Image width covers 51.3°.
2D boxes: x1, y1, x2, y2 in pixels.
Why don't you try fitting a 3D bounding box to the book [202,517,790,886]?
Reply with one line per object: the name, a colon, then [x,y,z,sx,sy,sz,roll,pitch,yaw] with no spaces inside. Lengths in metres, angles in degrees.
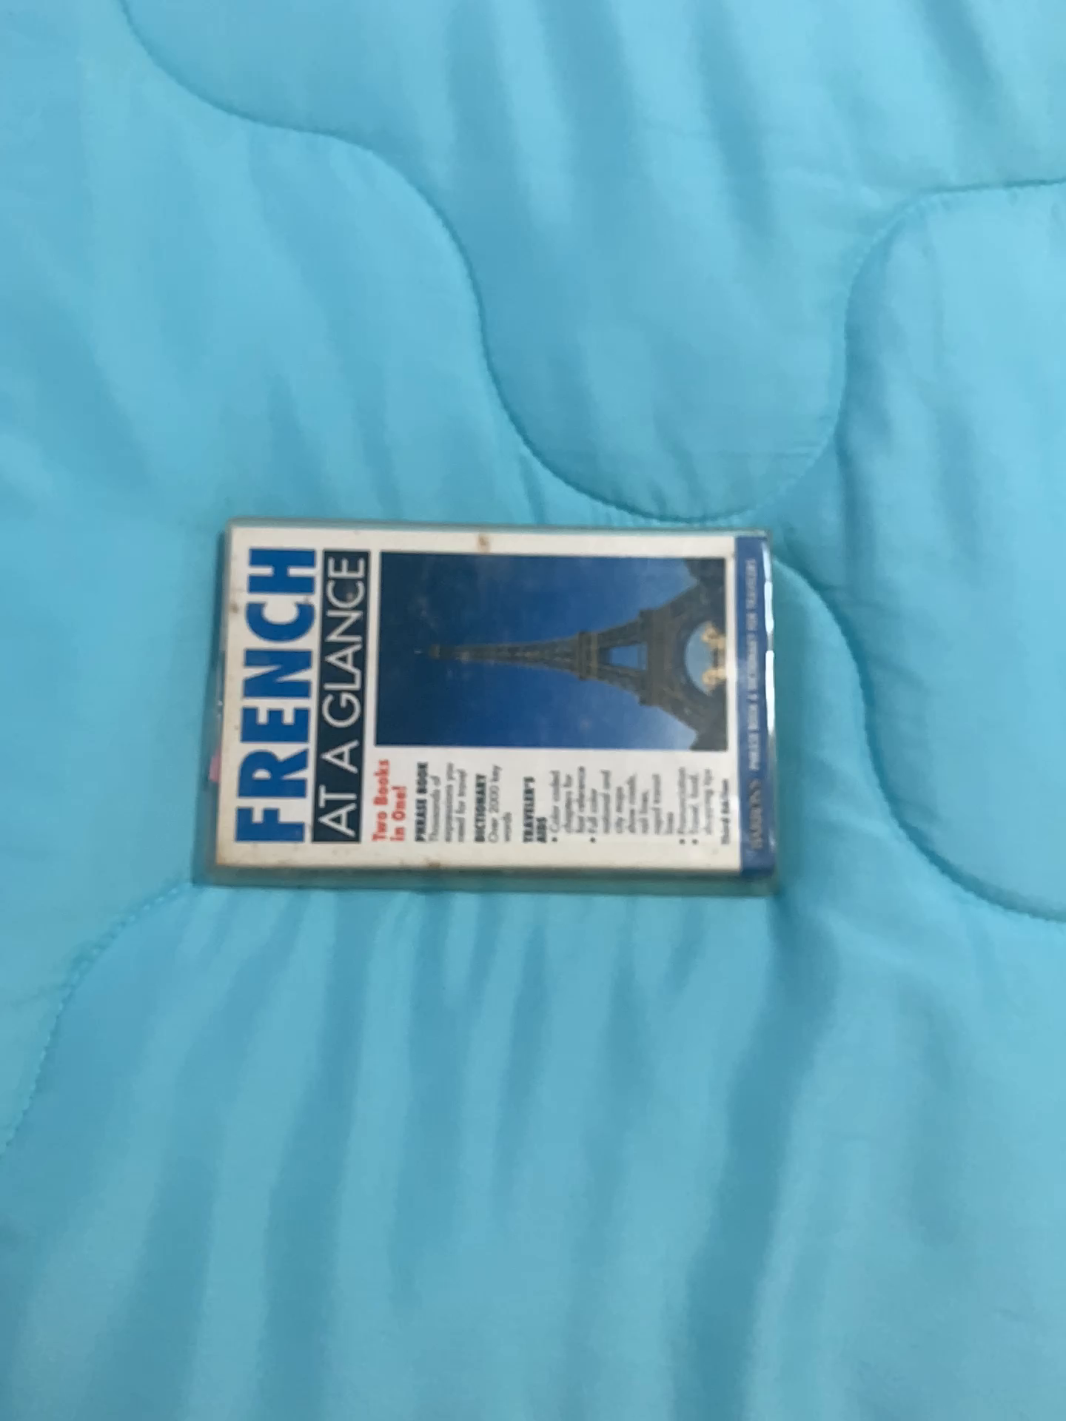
book: [-0.010,-0.002,0.306,0.154,0.017,0.099,0,82,-2]
